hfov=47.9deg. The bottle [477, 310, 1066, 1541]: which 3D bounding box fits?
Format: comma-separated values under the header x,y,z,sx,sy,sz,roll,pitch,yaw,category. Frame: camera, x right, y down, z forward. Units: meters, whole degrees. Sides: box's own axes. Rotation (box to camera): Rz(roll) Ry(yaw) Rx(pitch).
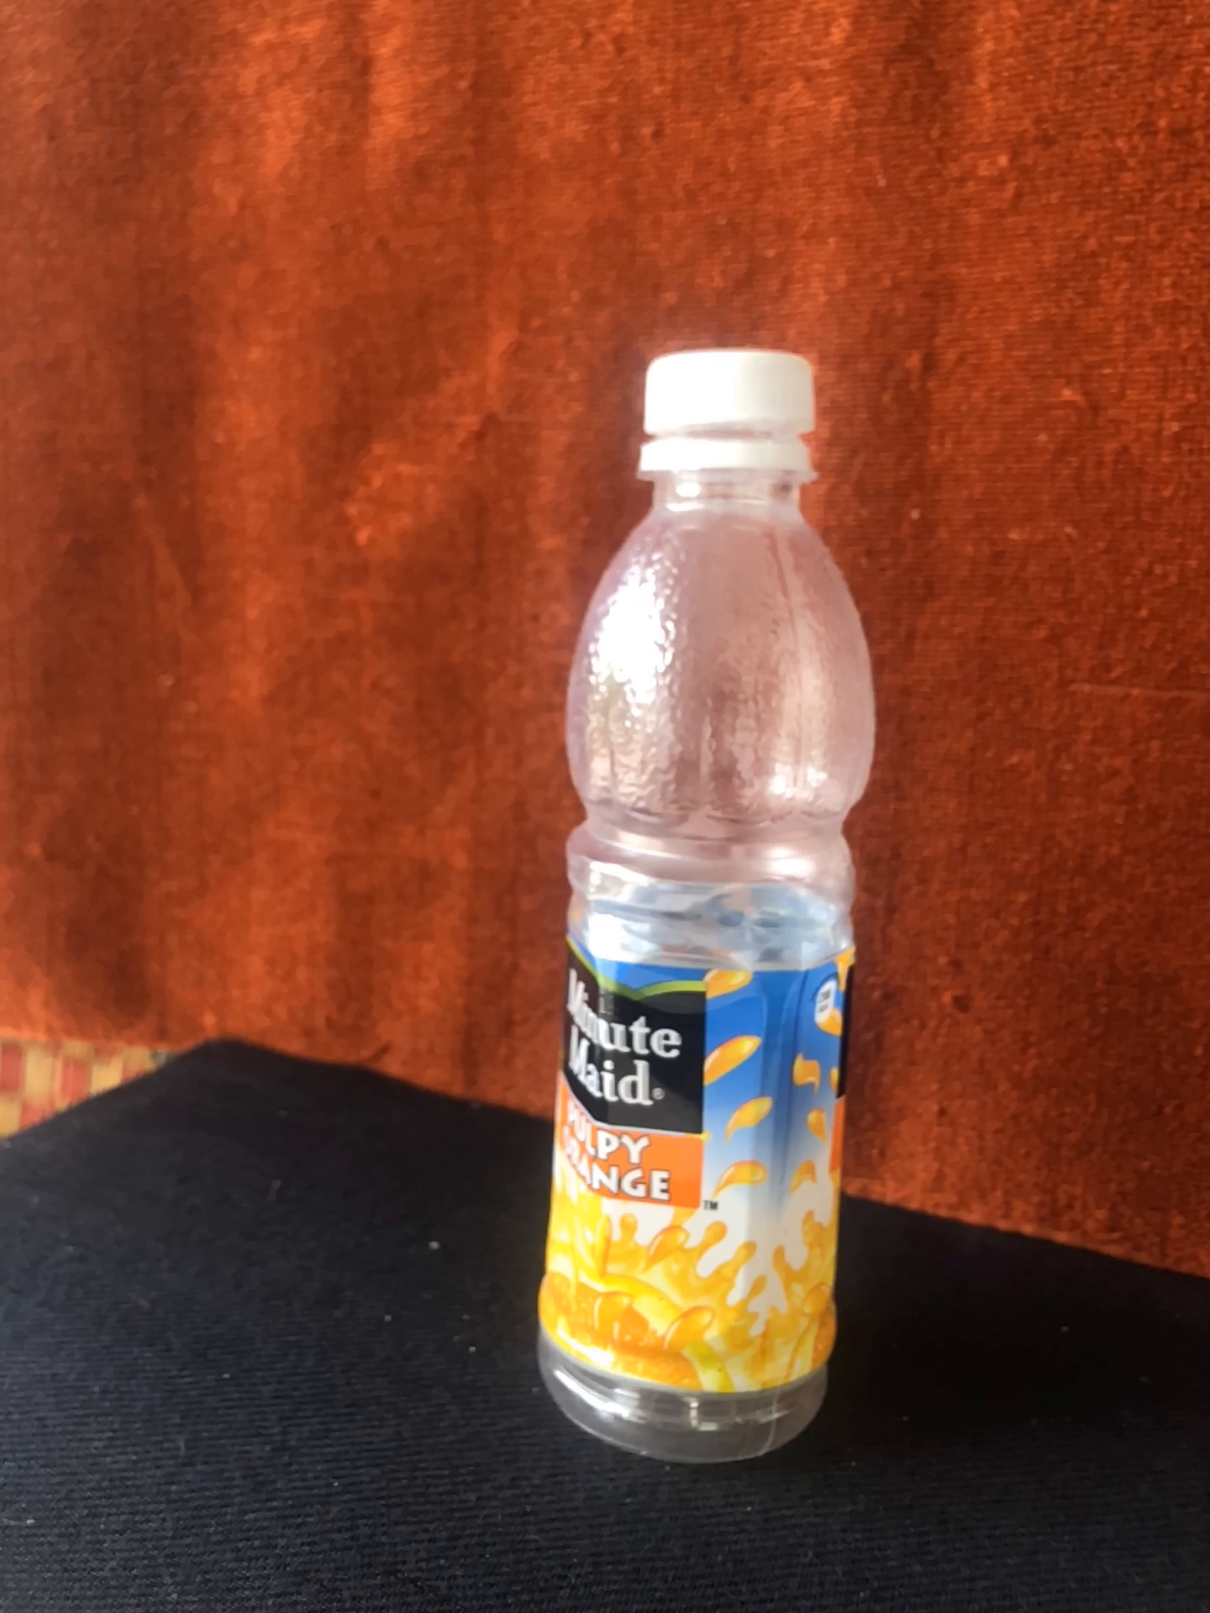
x,y,z,sx,sy,sz,roll,pitch,yaw,category
0.028,0.017,0.261,0.070,0.199,0.070,3,11,-1,bottle
